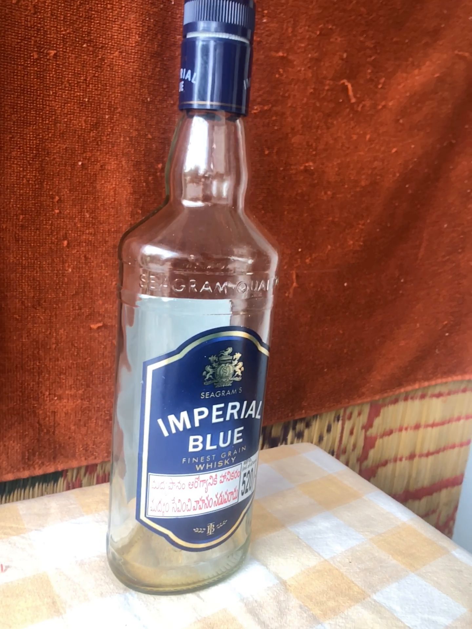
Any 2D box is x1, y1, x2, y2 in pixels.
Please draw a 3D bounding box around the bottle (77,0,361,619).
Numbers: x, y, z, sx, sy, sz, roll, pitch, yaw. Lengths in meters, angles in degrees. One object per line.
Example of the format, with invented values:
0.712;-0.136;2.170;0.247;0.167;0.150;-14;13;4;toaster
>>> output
-0.021;-0.012;0.269;0.090;0.309;0.070;0;15;-28;bottle
